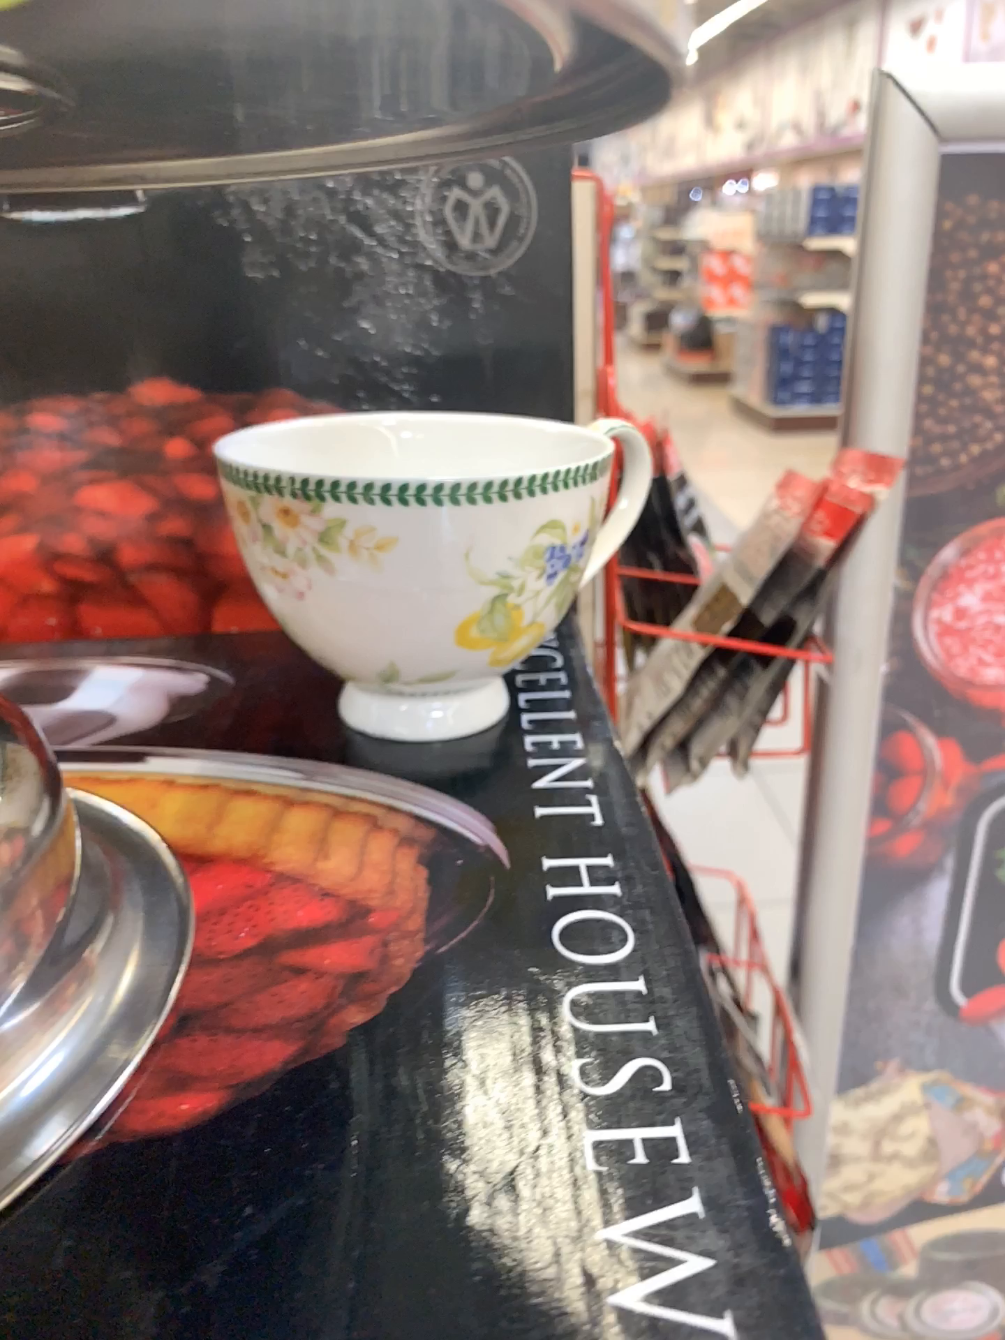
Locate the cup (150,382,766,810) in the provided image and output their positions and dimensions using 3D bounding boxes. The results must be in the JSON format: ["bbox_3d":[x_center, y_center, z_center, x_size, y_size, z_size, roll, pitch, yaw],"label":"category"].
[{"bbox_3d":[-0.011,-0.033,0.295,0.130,0.070,0.100,-18,28,-34],"label":"cup"}]
